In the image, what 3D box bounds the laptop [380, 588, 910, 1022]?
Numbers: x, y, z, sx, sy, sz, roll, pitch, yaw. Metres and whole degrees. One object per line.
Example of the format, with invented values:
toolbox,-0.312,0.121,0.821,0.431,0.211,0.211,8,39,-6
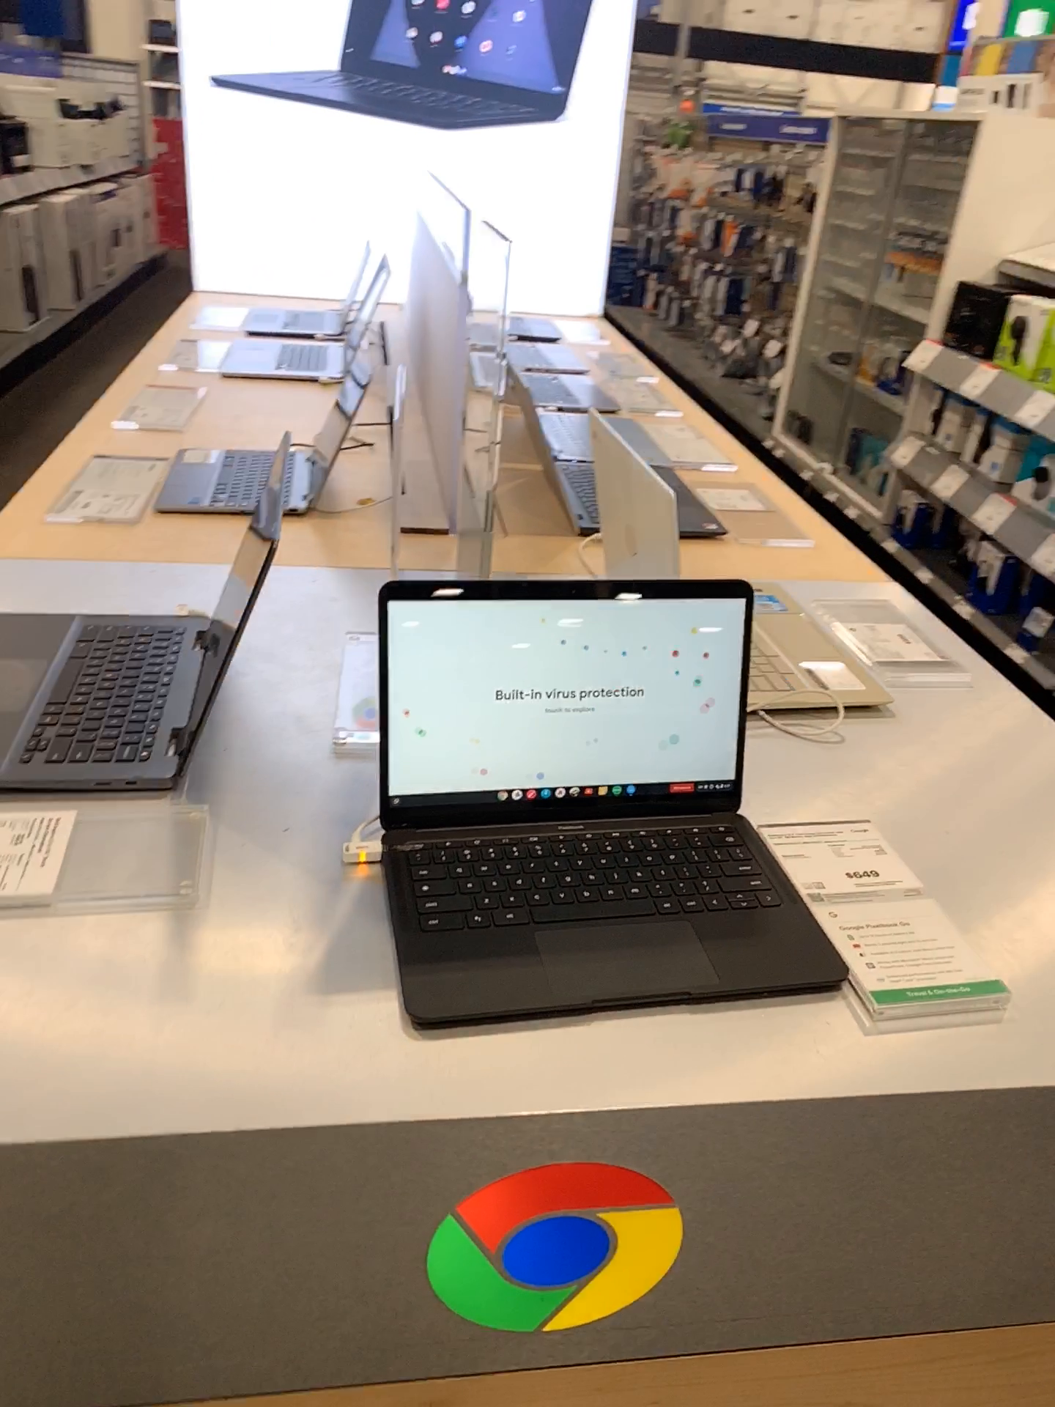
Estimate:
laptop,0.056,0.053,0.774,0.294,0.180,0.254,-2,29,-13
